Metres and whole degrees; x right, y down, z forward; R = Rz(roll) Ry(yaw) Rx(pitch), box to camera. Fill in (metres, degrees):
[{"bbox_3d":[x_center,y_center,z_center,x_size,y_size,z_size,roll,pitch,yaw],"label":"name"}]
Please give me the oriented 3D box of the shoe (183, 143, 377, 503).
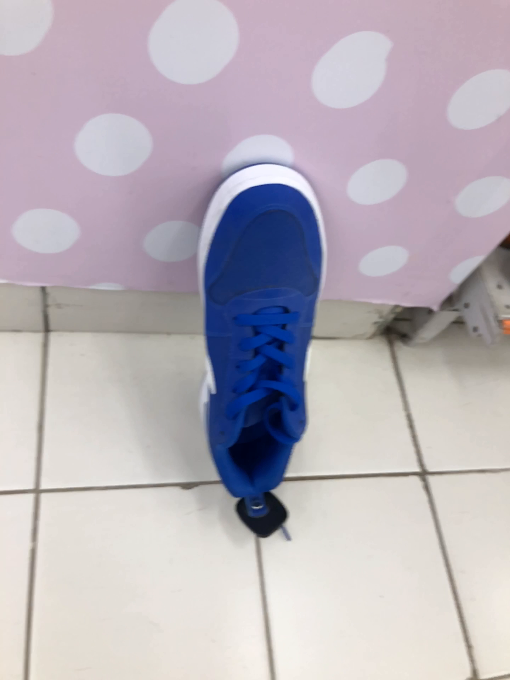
[{"bbox_3d":[0.004,-0.002,0.469,0.110,0.289,0.080,-3,34,-14],"label":"shoe"}]
